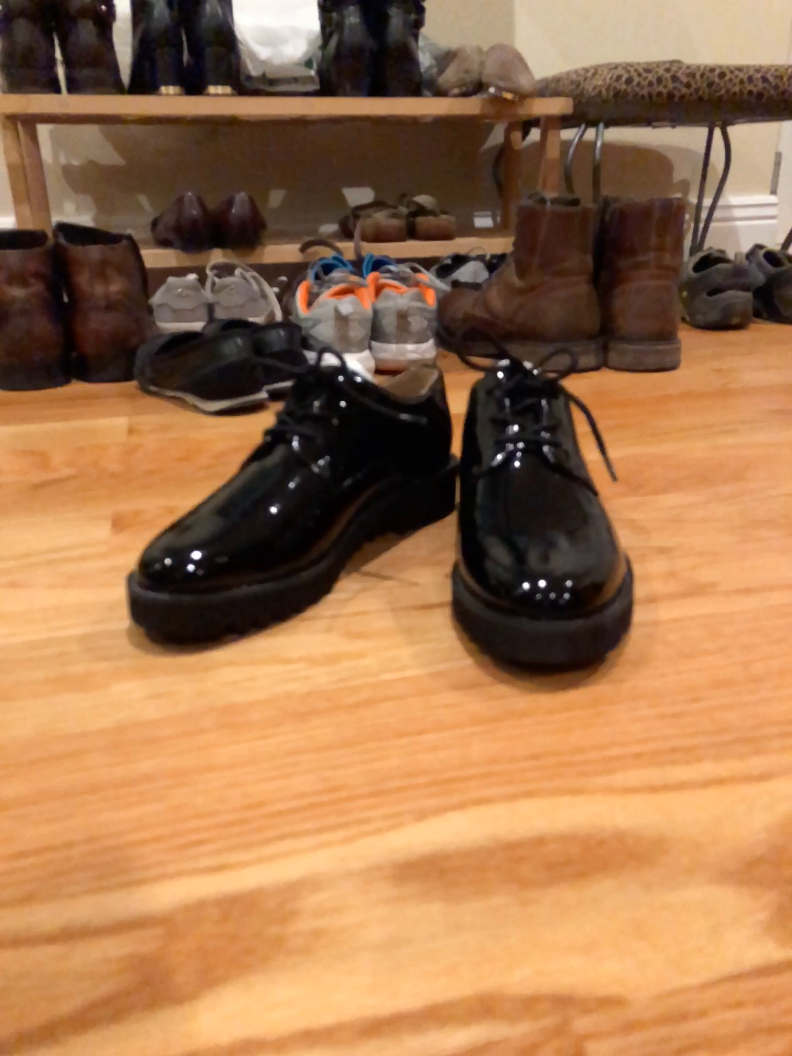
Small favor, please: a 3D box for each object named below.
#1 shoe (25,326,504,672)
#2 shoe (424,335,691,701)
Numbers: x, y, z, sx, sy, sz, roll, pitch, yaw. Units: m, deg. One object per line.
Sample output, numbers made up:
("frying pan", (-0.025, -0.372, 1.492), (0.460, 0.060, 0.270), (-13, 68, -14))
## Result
("shoe", (-0.049, -0.036, 0.463), (0.095, 0.102, 0.252), (15, 27, 35))
("shoe", (0.071, -0.027, 0.444), (0.095, 0.101, 0.252), (1, 22, 6))
